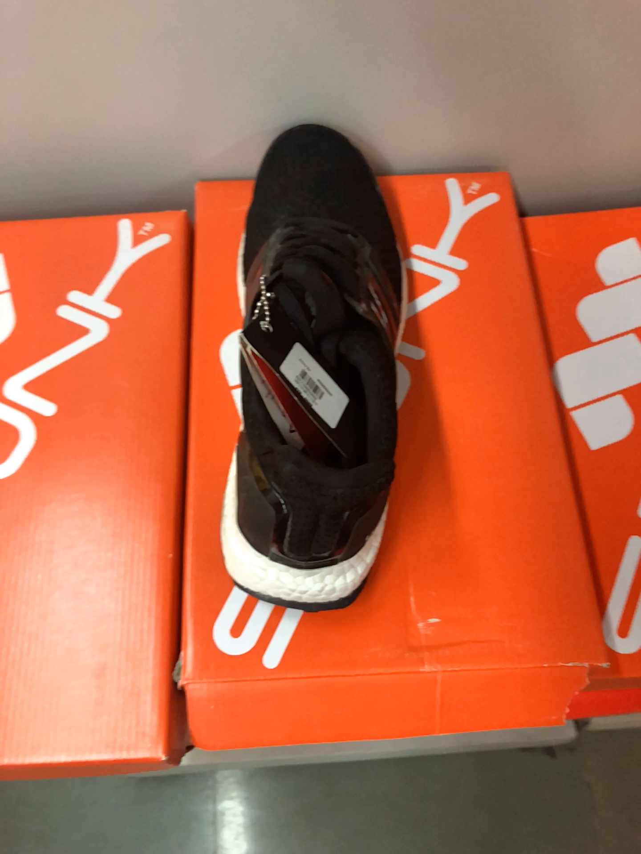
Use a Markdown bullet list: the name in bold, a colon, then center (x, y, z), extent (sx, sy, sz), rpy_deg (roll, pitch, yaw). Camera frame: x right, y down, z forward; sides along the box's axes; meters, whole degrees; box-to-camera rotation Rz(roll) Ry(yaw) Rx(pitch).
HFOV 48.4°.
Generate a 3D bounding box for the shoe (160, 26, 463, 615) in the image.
- **shoe**: center (0.002, -0.057, 0.385), extent (0.117, 0.120, 0.290), rpy_deg (3, 67, 0)
